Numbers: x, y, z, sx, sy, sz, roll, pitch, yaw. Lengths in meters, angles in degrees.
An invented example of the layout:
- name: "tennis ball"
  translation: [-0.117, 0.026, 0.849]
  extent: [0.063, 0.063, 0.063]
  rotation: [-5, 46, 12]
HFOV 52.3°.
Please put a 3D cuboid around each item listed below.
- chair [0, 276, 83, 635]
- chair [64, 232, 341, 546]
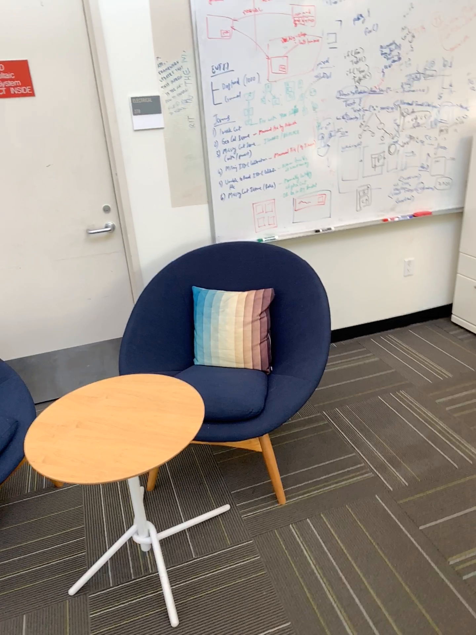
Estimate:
- name: "chair"
  translation: [-1.243, 0.395, 1.791]
  extent: [0.841, 0.836, 0.793]
  rotation: [4, 25, 19]
- name: "chair"
  translation: [-0.044, 0.209, 2.242]
  extent: [0.831, 0.945, 0.984]
  rotation: [6, 26, 22]
